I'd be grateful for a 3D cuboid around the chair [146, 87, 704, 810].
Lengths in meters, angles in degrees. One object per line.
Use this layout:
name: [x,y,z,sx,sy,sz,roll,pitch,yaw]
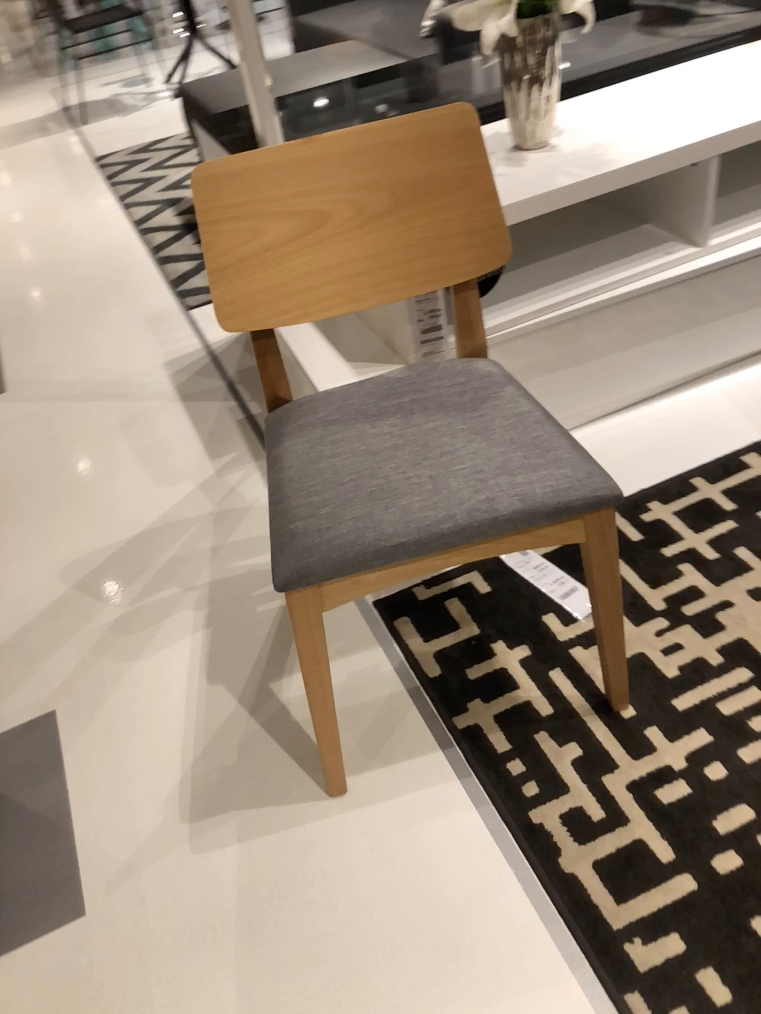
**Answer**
chair: [0.046,-0.087,1.261,0.540,0.794,0.585,-15,40,-5]
